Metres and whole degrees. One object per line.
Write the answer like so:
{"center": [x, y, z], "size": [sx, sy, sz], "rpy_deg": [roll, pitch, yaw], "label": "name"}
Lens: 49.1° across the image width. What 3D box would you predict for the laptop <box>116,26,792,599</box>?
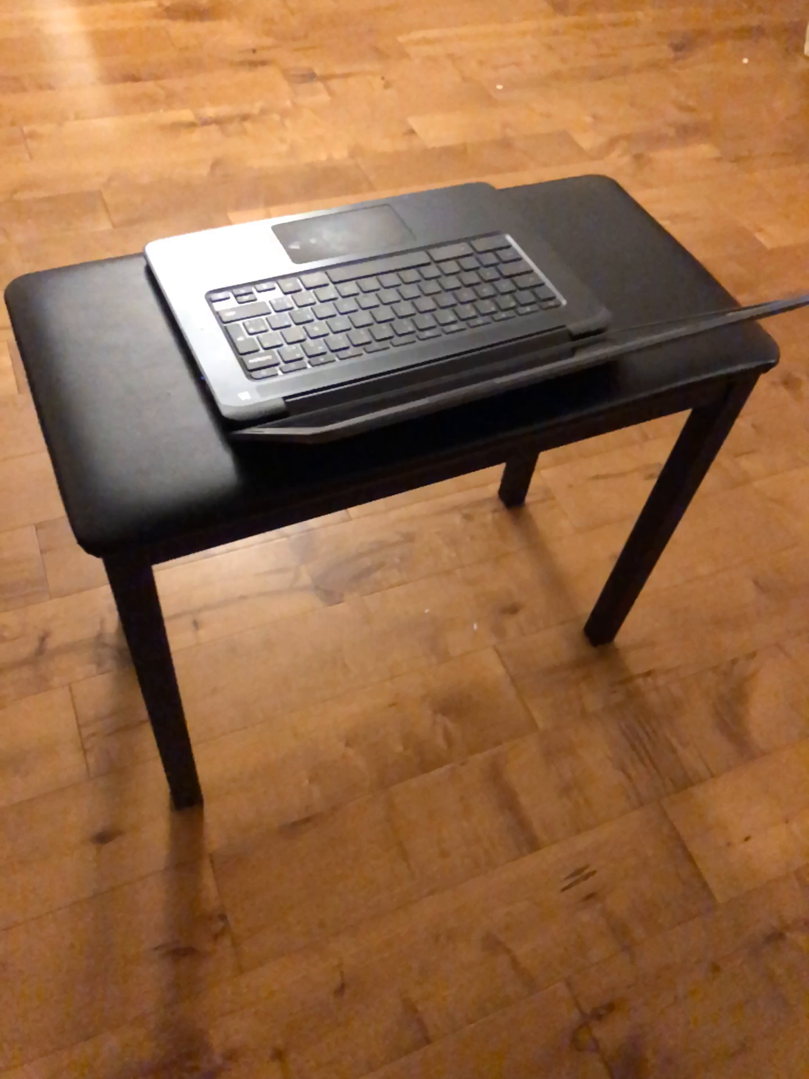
{"center": [0.012, -0.191, 0.635], "size": [0.316, 0.143, 0.364], "rpy_deg": [-18, 58, -20], "label": "laptop"}
